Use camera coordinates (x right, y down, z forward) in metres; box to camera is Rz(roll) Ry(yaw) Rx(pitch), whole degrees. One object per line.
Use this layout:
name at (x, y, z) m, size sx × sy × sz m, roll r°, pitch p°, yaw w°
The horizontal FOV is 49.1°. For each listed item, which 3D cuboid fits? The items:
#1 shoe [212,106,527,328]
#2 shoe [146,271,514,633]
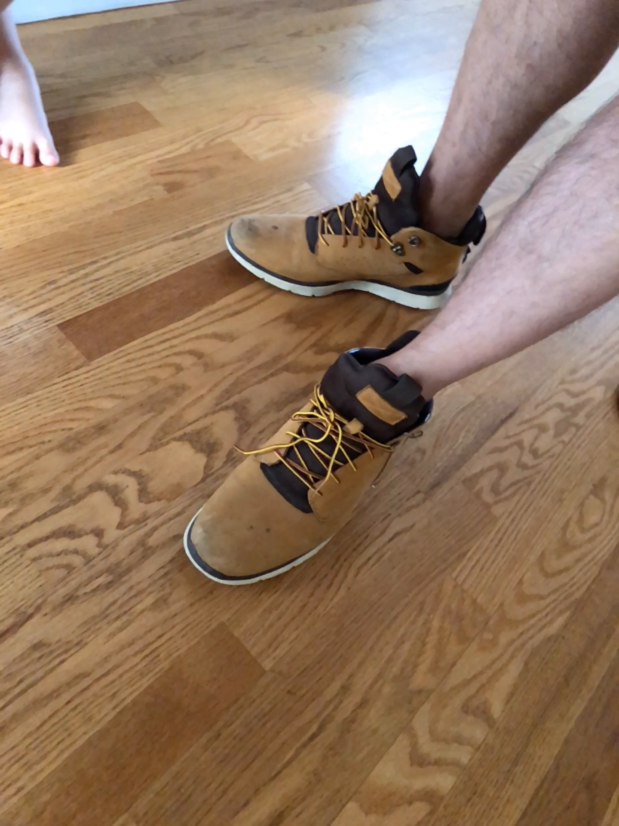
shoe at (0.059, -0.211, 0.773) m, size 0.310 × 0.149 × 0.120 m, roll 6°, pitch 55°, yaw -18°
shoe at (0.023, 0.021, 0.574) m, size 0.120 × 0.139 × 0.291 m, roll 44°, pitch 52°, yaw 11°
